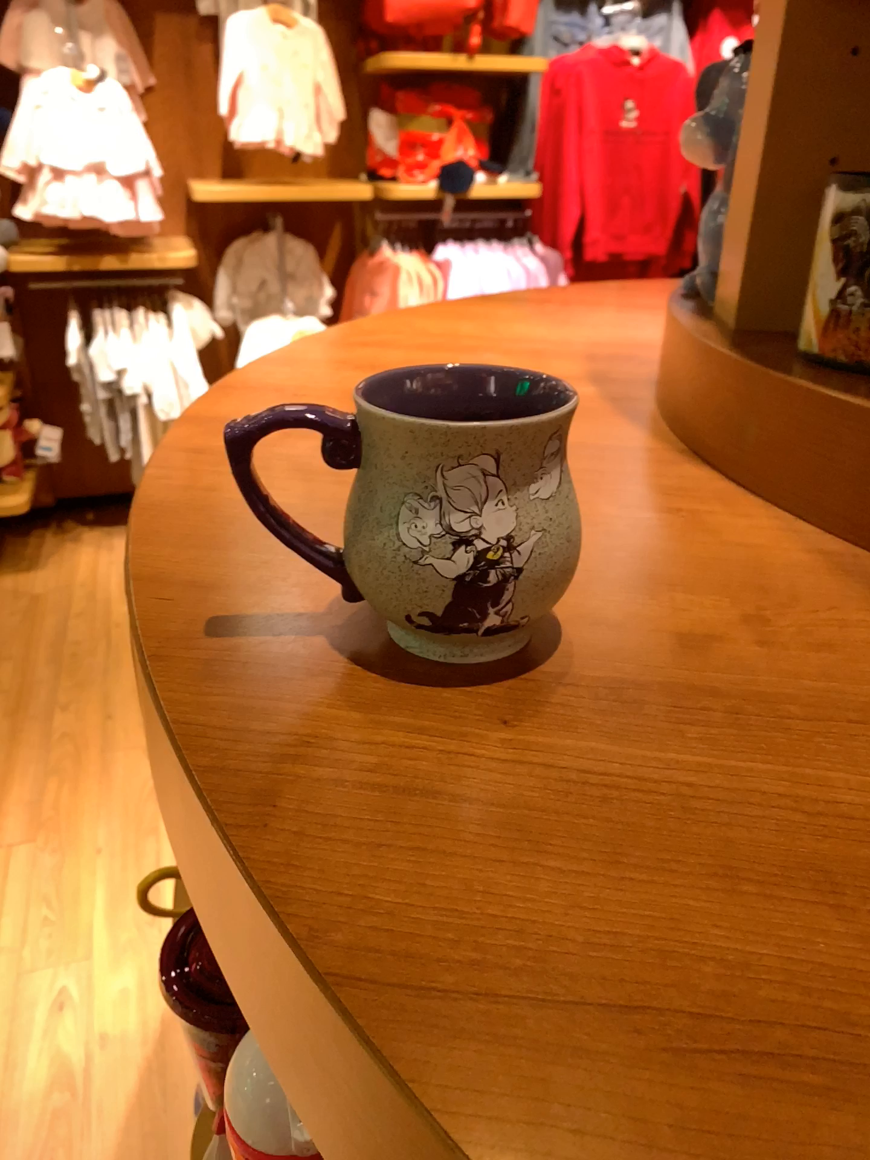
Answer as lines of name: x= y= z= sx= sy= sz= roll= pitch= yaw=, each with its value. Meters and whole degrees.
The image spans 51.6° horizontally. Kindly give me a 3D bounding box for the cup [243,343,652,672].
cup: x=0.005 y=-0.036 z=0.381 sx=0.140 sy=0.099 sz=0.115 roll=2 pitch=26 yaw=1
